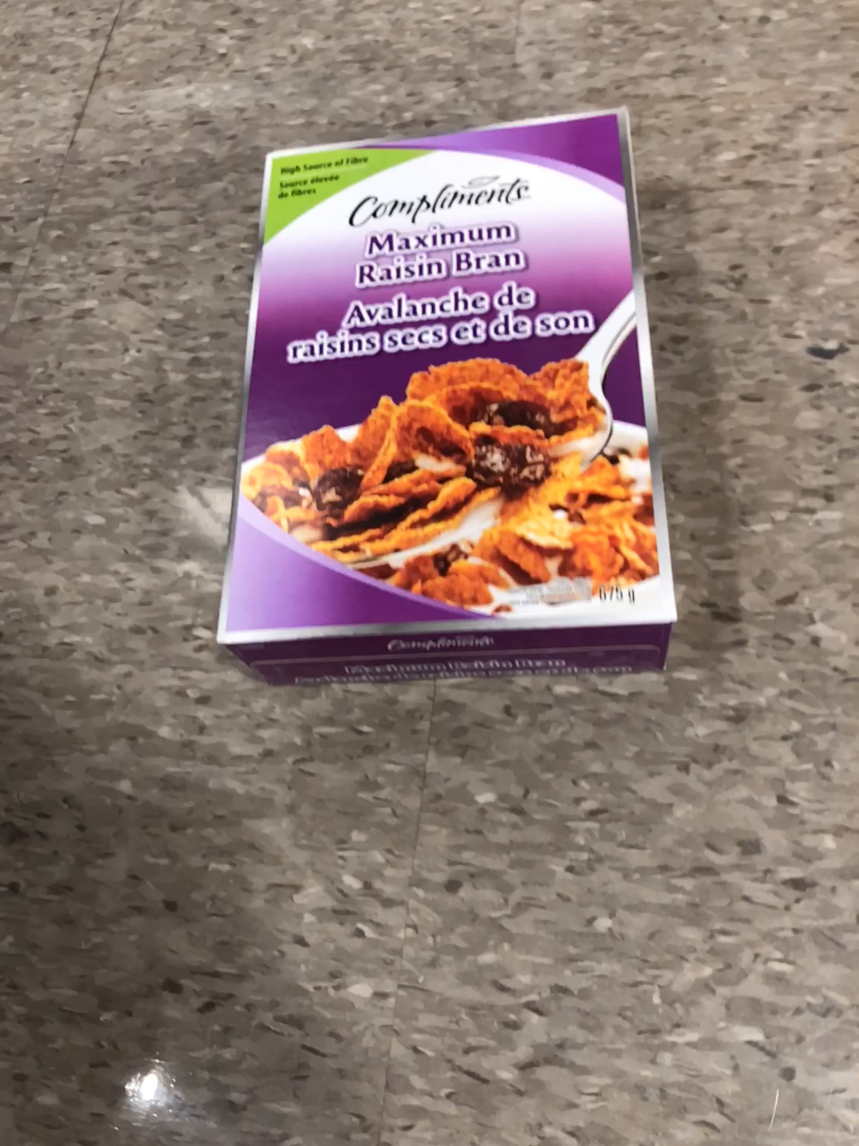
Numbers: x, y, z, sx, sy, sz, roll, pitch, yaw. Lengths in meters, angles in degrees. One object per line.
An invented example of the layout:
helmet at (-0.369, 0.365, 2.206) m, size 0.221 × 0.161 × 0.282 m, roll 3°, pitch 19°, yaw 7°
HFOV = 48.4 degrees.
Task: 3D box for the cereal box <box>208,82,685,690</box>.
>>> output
cereal box at (0.013, -0.102, 0.492) m, size 0.200 × 0.070 × 0.311 m, roll -3°, pitch 65°, yaw 10°
